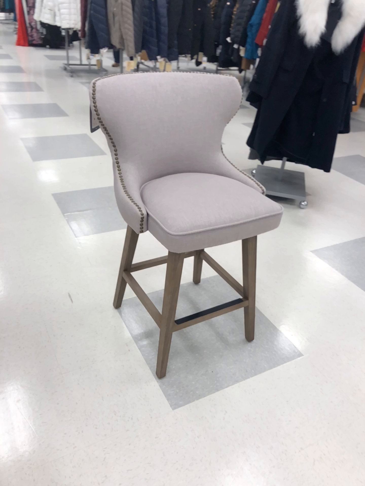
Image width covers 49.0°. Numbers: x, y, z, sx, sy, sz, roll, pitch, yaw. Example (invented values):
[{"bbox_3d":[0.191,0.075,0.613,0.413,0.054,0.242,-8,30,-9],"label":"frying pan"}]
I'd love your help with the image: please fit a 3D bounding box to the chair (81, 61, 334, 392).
[{"bbox_3d":[0.024,-0.082,1.468,0.610,0.999,0.478,-13,36,-29],"label":"chair"}]
